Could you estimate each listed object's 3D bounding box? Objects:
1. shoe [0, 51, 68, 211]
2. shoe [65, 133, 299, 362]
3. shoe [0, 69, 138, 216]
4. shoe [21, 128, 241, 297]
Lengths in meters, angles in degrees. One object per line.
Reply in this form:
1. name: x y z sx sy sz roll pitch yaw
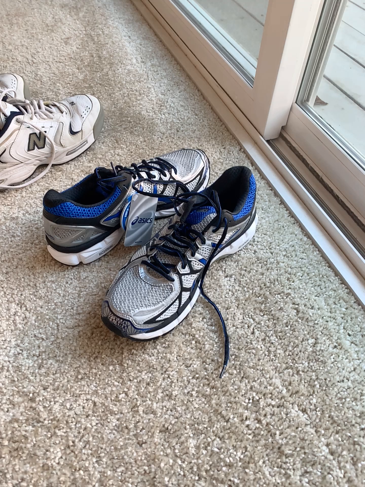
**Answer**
1. shoe: -0.370 -0.237 0.743 0.120 0.129 0.331 13 51 8
2. shoe: 0.017 -0.016 0.494 0.110 0.090 0.321 33 57 22
3. shoe: -0.247 -0.197 0.680 0.120 0.090 0.331 37 58 25
4. shoe: -0.067 -0.066 0.618 0.340 0.090 0.110 -33 59 -26
